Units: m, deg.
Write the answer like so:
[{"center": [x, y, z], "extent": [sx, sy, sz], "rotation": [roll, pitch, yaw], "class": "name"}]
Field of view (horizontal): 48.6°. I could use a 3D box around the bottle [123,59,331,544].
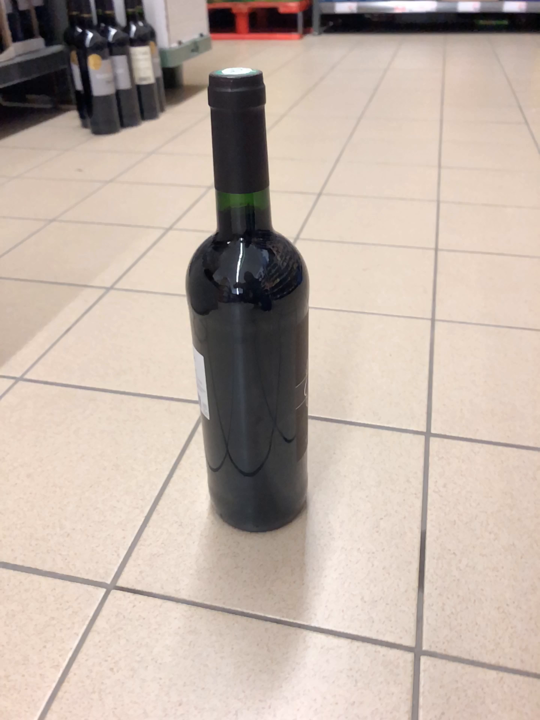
[{"center": [-0.019, -0.021, 0.375], "extent": [0.090, 0.288, 0.091], "rotation": [-1, 33, 1], "class": "bottle"}]
